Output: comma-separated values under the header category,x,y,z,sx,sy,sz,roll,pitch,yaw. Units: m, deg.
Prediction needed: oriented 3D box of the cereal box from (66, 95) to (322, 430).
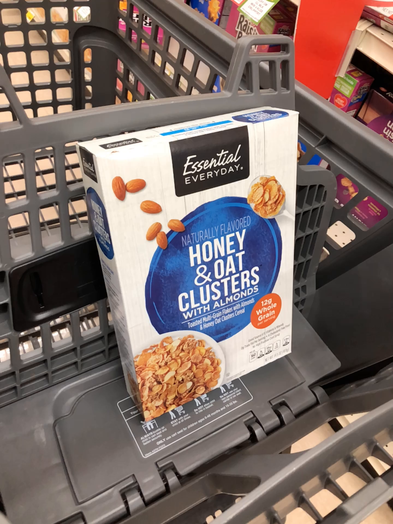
category,x,y,z,sx,sy,sz,roll,pitch,yaw
cereal box,0.014,0.001,0.426,0.210,0.280,0.060,-18,31,-24
